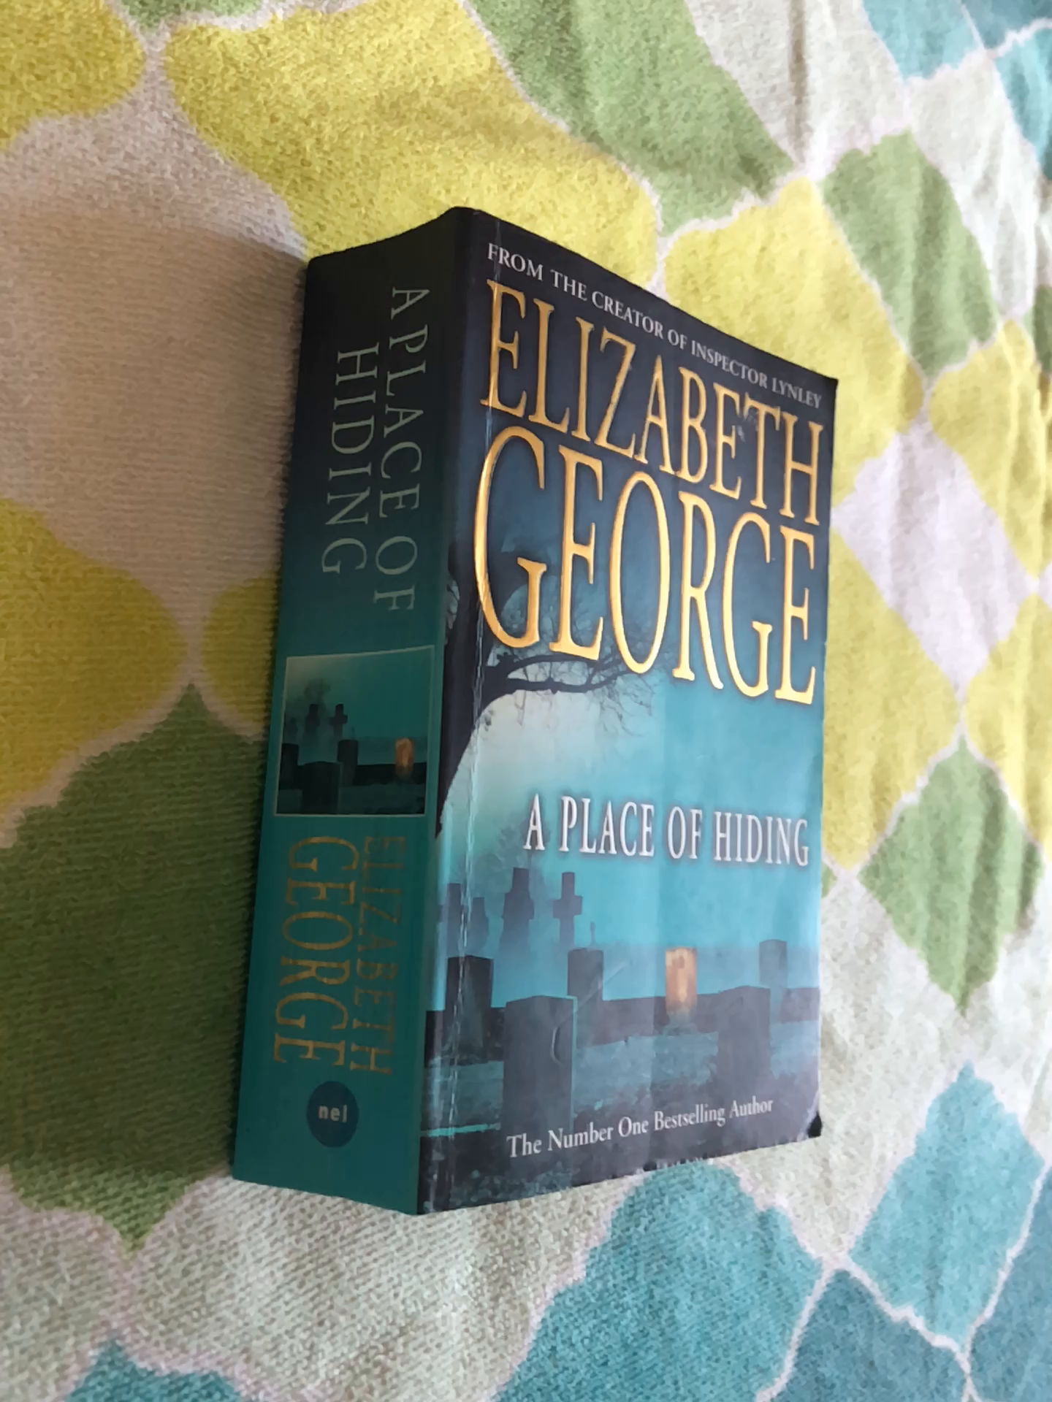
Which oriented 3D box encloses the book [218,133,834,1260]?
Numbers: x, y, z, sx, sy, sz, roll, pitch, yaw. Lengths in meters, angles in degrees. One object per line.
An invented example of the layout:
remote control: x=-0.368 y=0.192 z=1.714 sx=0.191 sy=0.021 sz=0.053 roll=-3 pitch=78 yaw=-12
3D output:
book: x=0.009 y=0.002 z=0.288 sx=0.131 sy=0.070 sz=0.210 roll=9 pitch=82 yaw=-48
